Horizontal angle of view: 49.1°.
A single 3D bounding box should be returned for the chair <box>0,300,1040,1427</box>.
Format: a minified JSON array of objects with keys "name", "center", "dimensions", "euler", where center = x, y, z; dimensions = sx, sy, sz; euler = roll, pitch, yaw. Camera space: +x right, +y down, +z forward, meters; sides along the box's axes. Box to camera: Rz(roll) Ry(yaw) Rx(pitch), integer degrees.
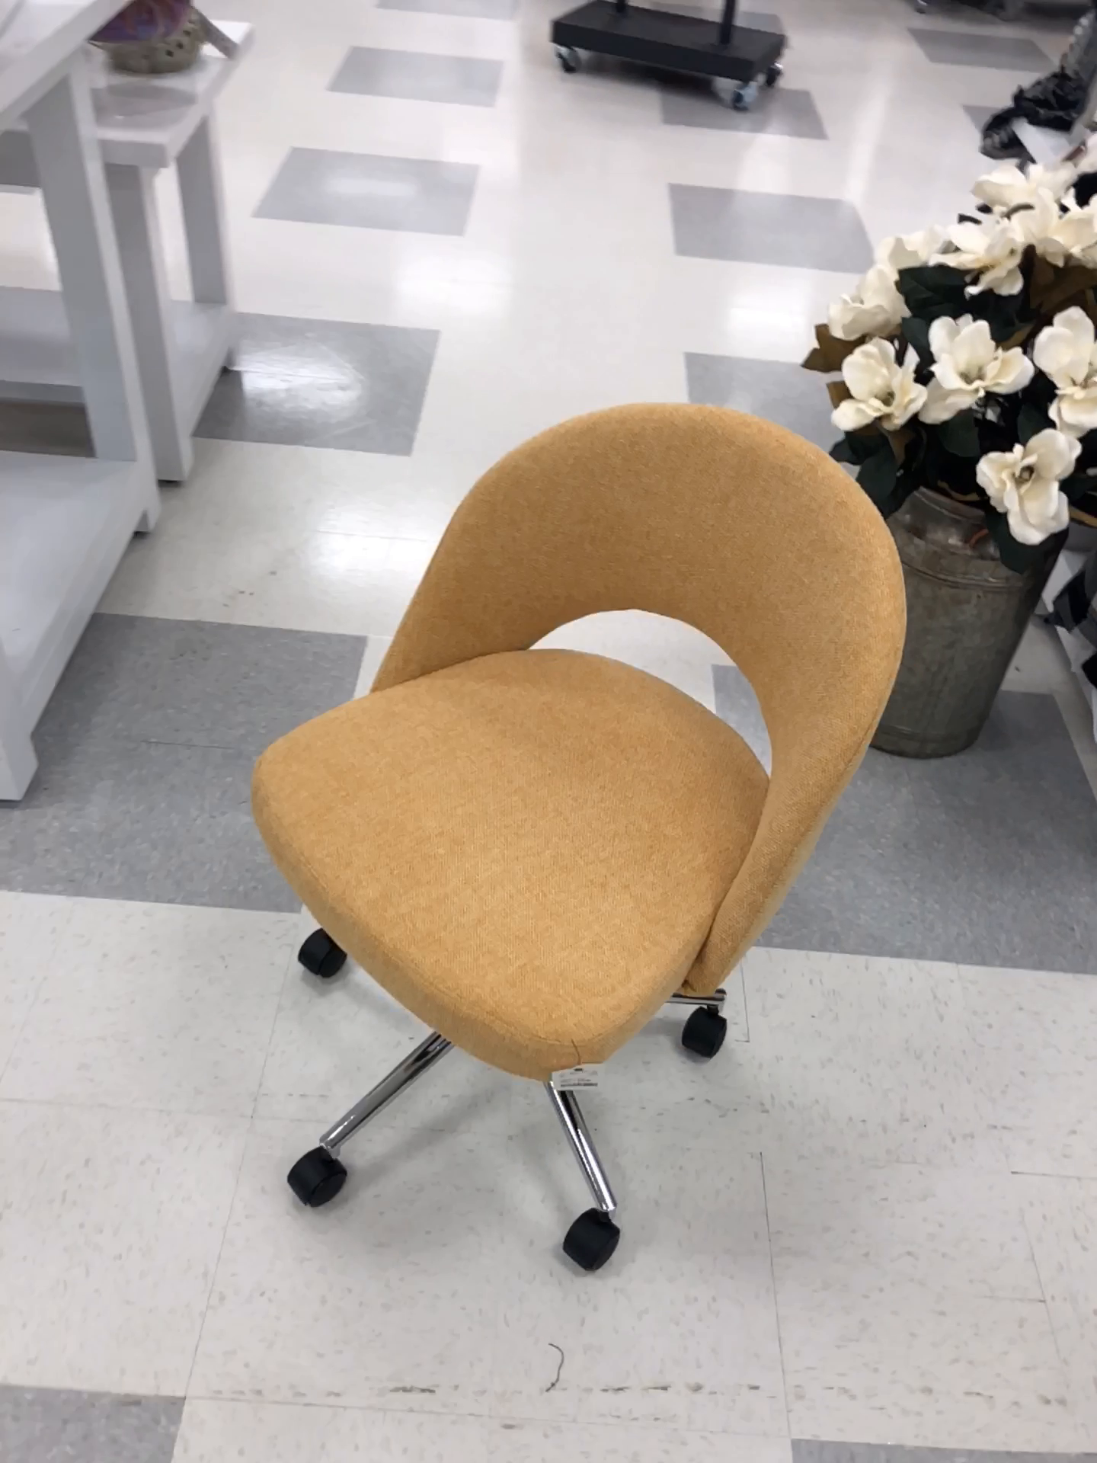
[{"name":"chair","center":[-0.043,0.104,1.225],"dimensions":[0.582,0.749,0.637],"euler":[36,50,29]}]
